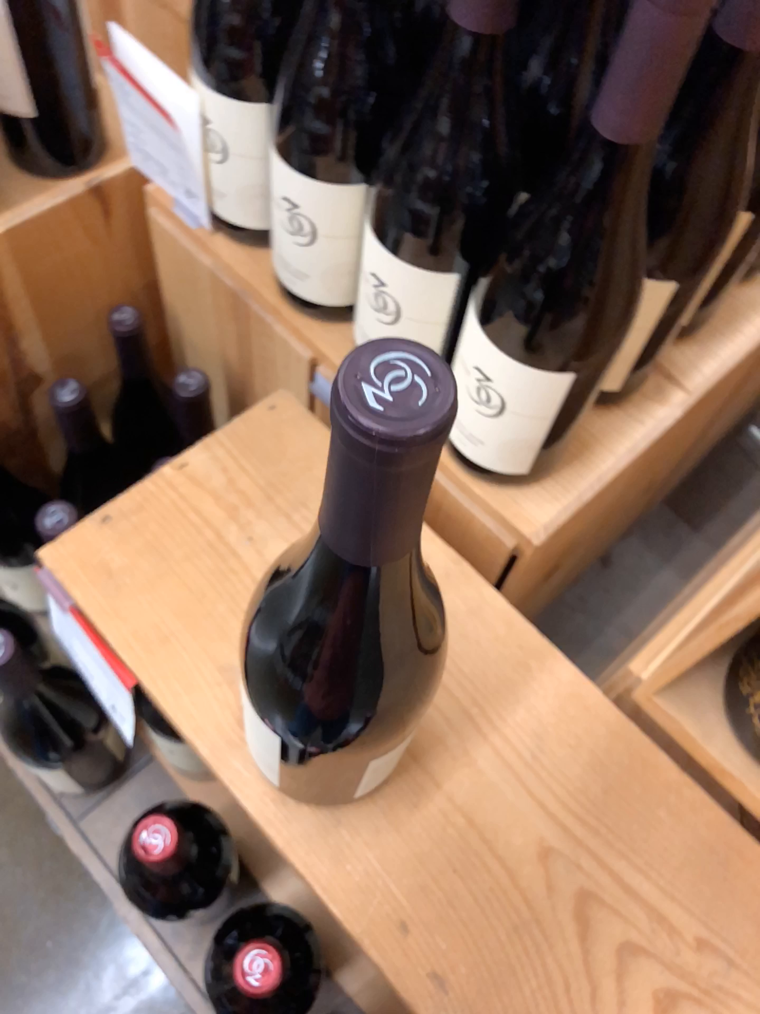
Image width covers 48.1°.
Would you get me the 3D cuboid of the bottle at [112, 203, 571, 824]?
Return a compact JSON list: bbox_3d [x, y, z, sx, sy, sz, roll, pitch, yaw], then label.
[{"bbox_3d":[-0.016,0.041,0.297,0.080,0.284,0.080,3,61,-5],"label":"bottle"}]
